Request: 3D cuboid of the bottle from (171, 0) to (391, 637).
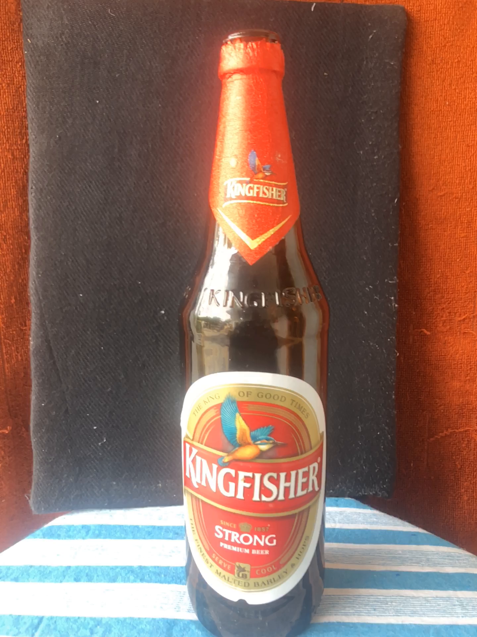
[{"bbox_3d":[0.015,0.010,0.259,0.080,0.289,0.070,3,12,6],"label":"bottle"}]
